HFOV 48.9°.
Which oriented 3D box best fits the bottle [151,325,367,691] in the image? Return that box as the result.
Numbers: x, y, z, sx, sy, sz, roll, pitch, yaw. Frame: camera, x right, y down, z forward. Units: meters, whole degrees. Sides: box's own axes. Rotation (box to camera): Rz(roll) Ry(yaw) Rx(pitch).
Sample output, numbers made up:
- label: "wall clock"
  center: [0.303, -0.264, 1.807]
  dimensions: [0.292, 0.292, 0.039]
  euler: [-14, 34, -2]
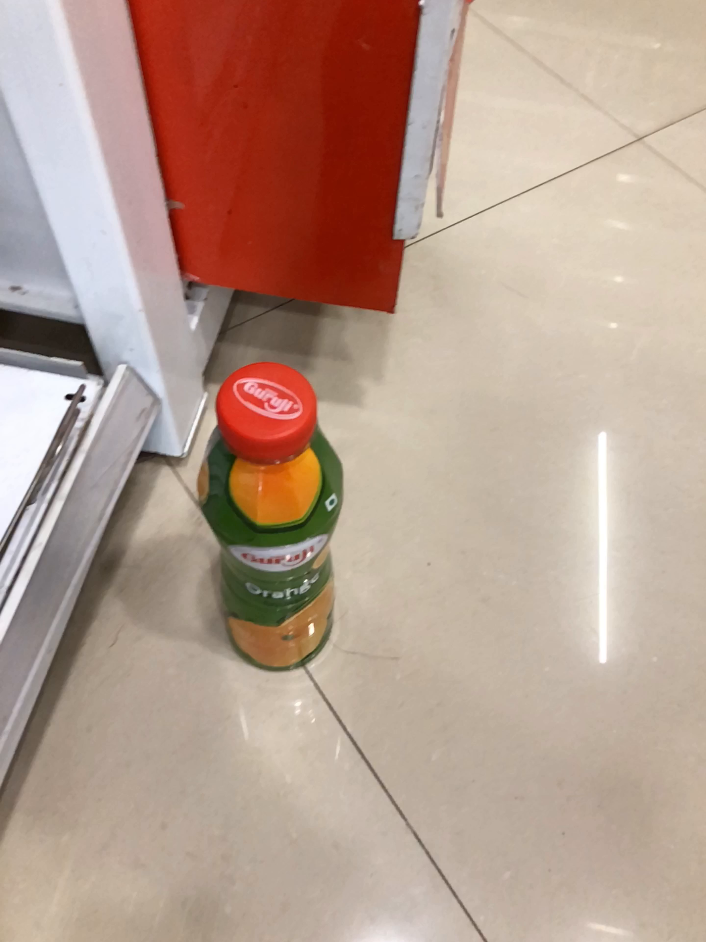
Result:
- label: "bottle"
  center: [-0.042, 0.038, 0.397]
  dimensions: [0.070, 0.239, 0.070]
  euler: [1, 59, -2]
